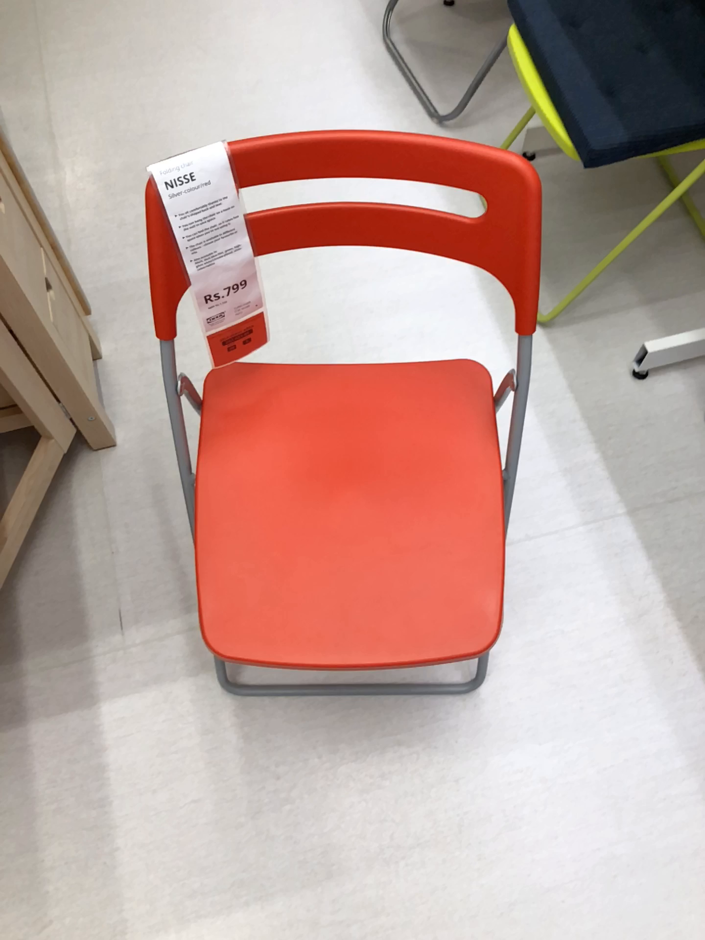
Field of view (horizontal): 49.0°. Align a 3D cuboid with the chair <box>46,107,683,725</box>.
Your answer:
[{"bbox_3d":[0.004,0.001,0.929,0.450,0.608,0.492,-2,64,0],"label":"chair"}]
